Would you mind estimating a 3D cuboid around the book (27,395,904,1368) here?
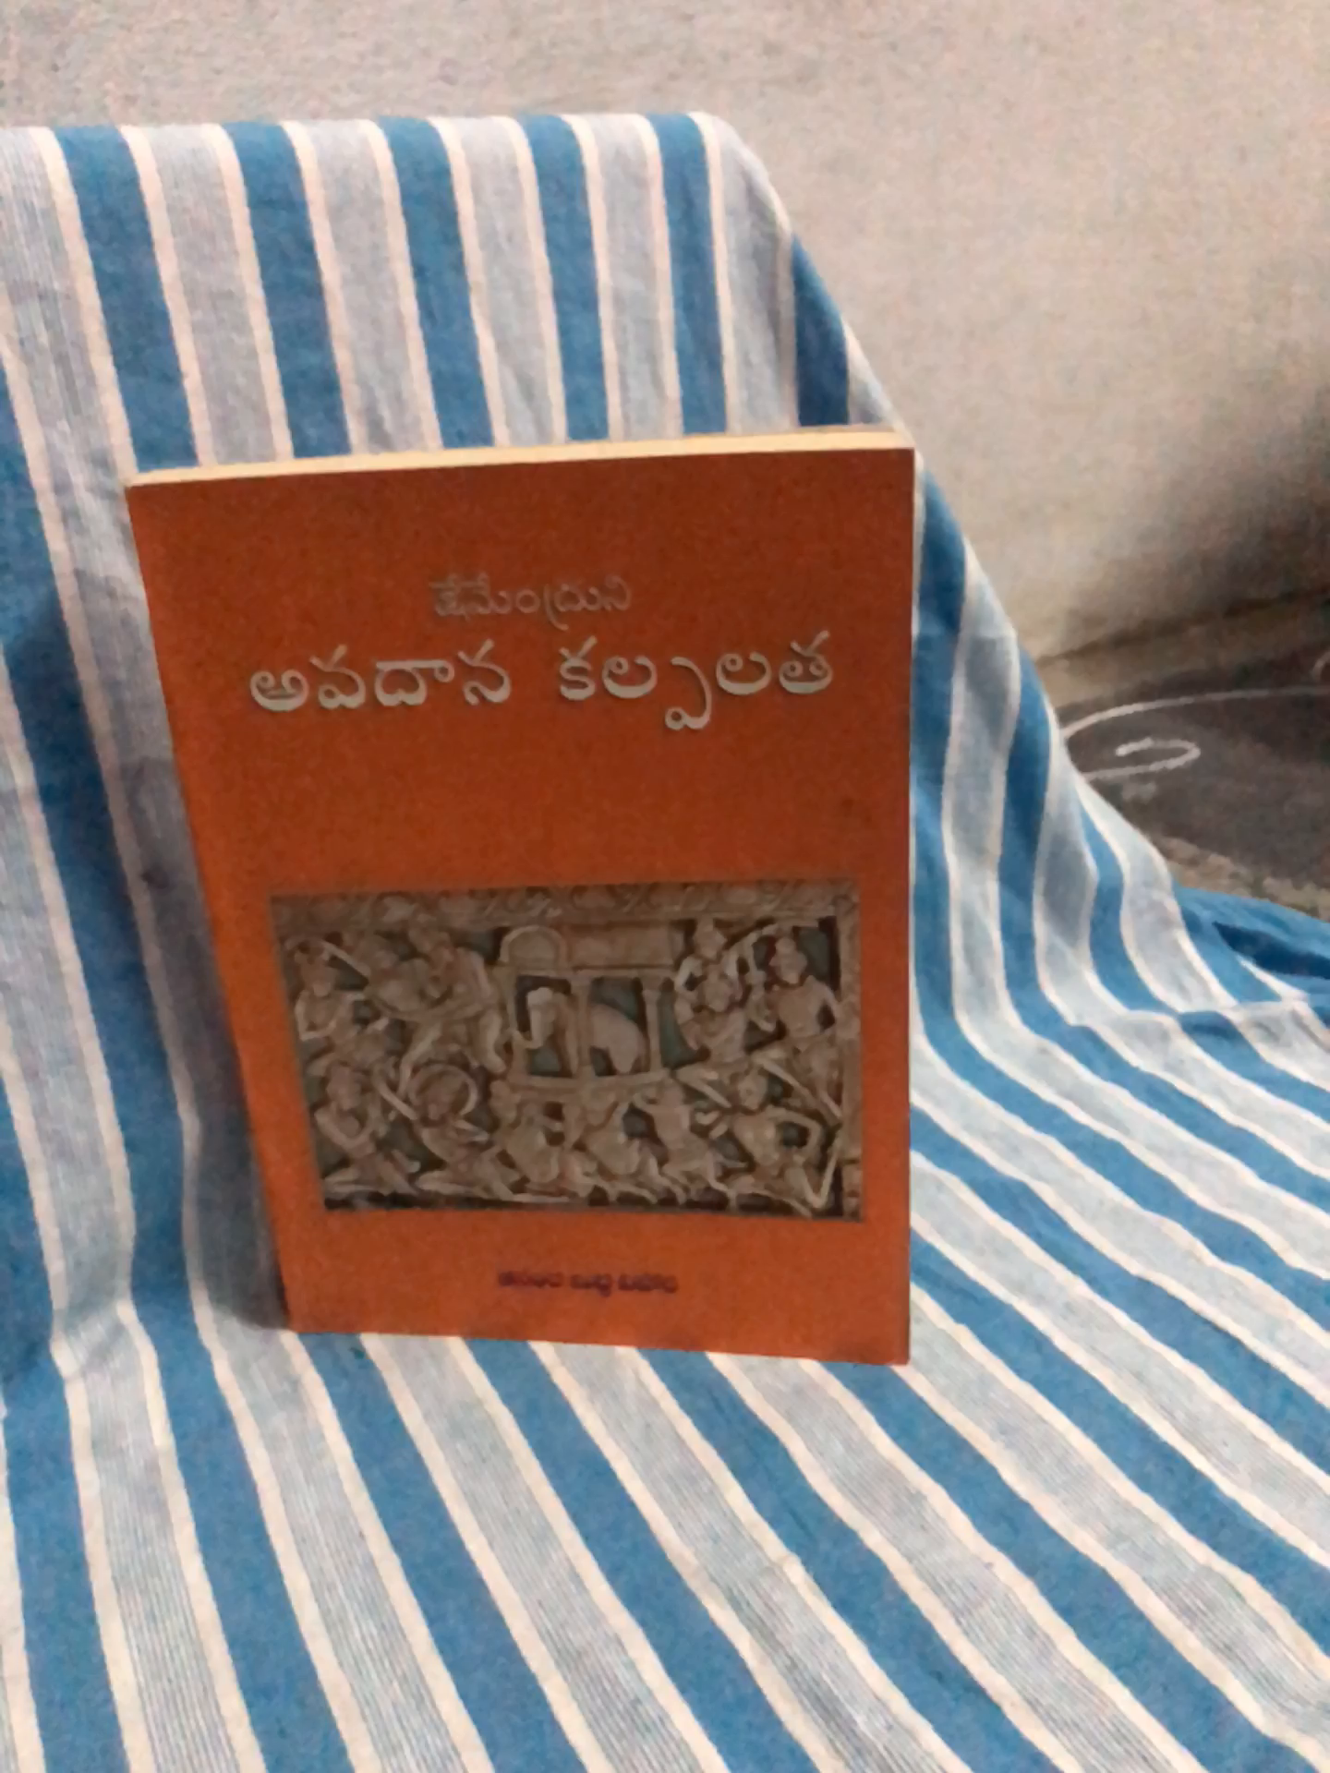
[{"bbox_3d":[-0.036,0.008,0.352,0.180,0.229,0.030,0,22,8],"label":"book"}]
